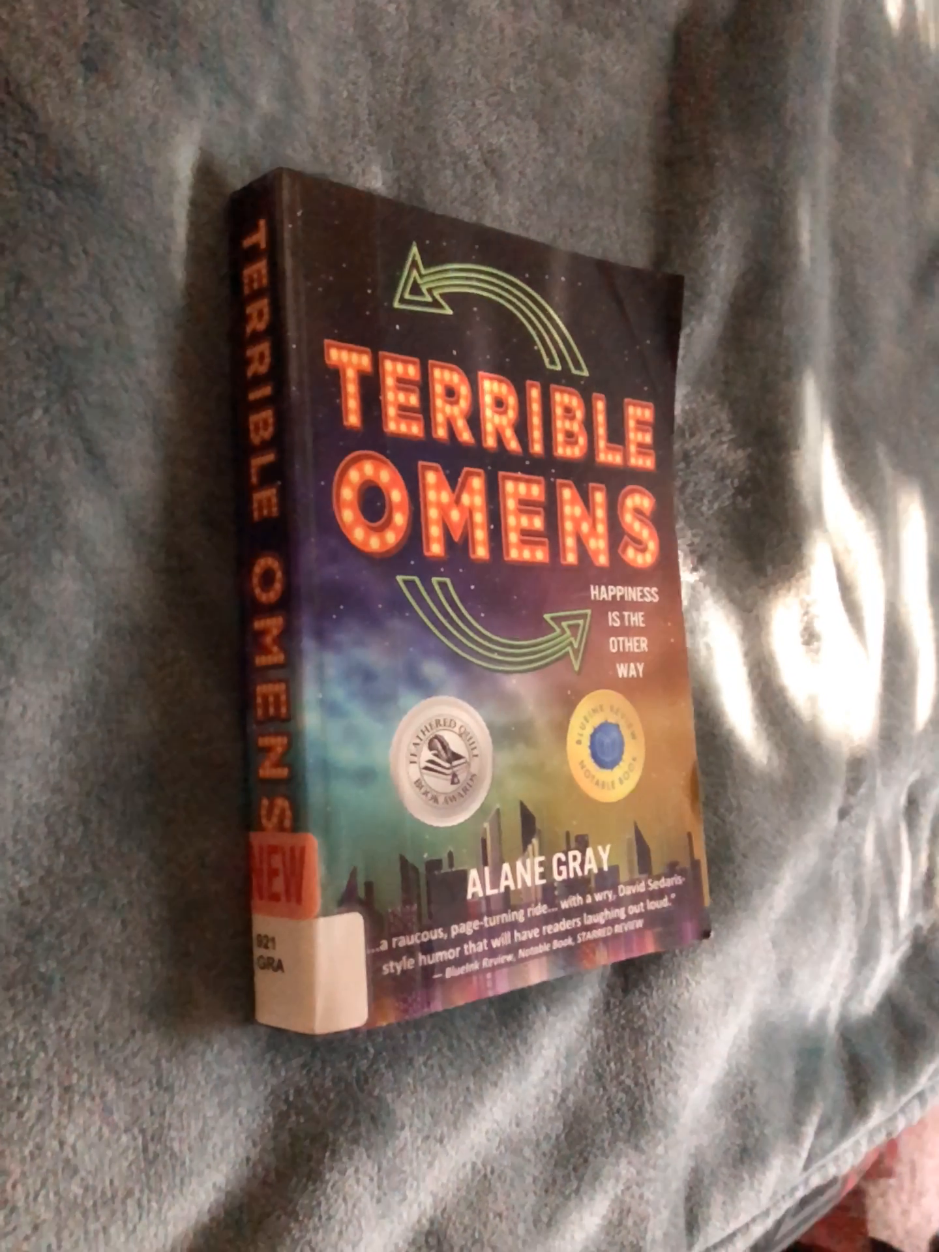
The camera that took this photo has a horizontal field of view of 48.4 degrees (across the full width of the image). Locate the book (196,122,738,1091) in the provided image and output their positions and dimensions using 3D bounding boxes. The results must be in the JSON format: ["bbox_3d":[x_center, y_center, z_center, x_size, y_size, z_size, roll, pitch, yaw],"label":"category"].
[{"bbox_3d":[0.006,-0.006,0.269,0.141,0.028,0.200,0,84,-39],"label":"book"}]
